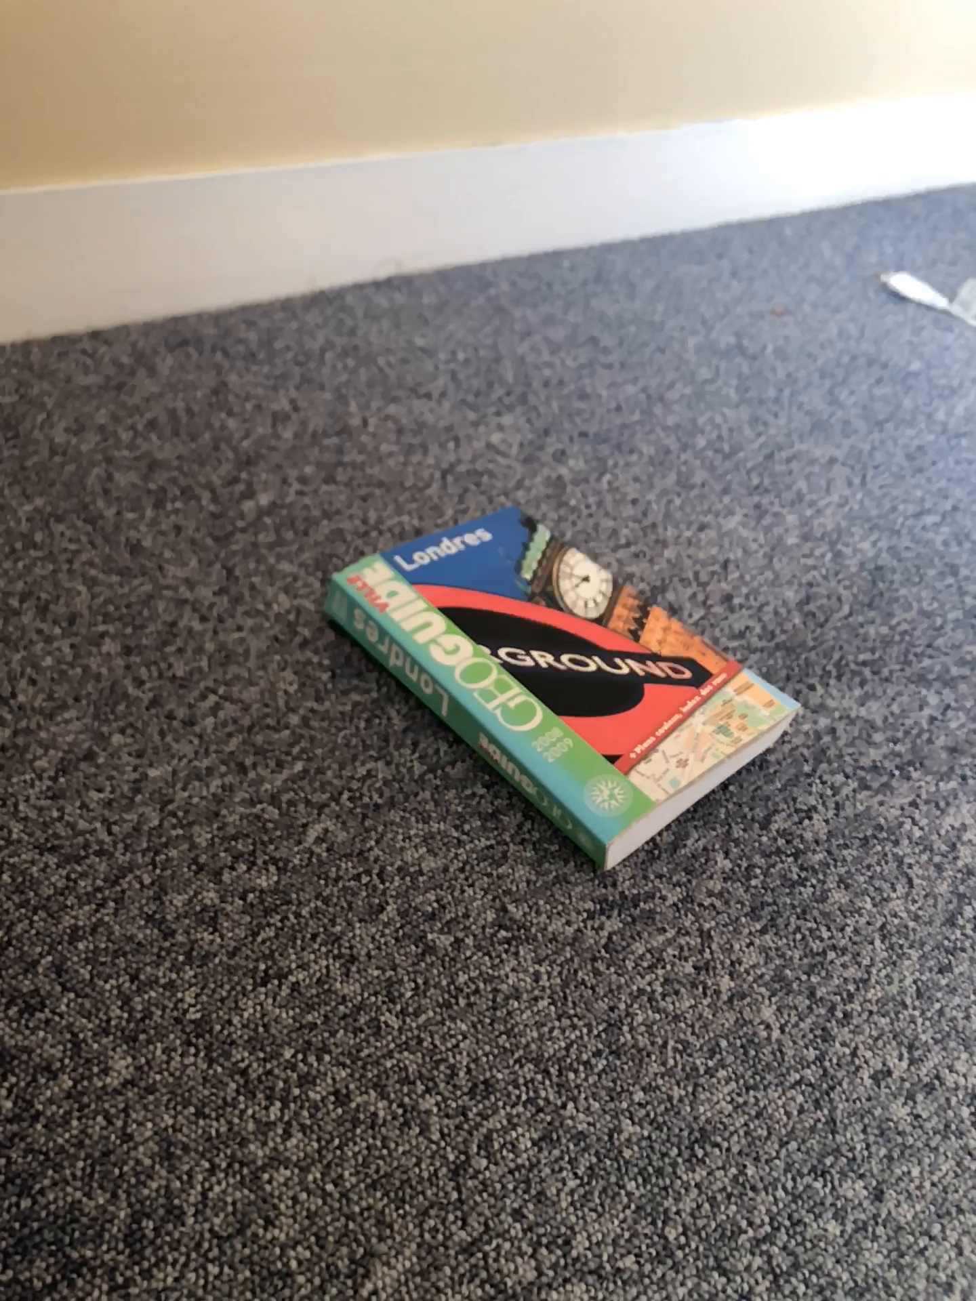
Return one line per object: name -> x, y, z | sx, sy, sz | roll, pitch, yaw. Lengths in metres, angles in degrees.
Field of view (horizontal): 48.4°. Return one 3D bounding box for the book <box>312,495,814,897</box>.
book -> 0.029, 0.007, 0.507 | 0.131, 0.030, 0.200 | -26, 52, -34
